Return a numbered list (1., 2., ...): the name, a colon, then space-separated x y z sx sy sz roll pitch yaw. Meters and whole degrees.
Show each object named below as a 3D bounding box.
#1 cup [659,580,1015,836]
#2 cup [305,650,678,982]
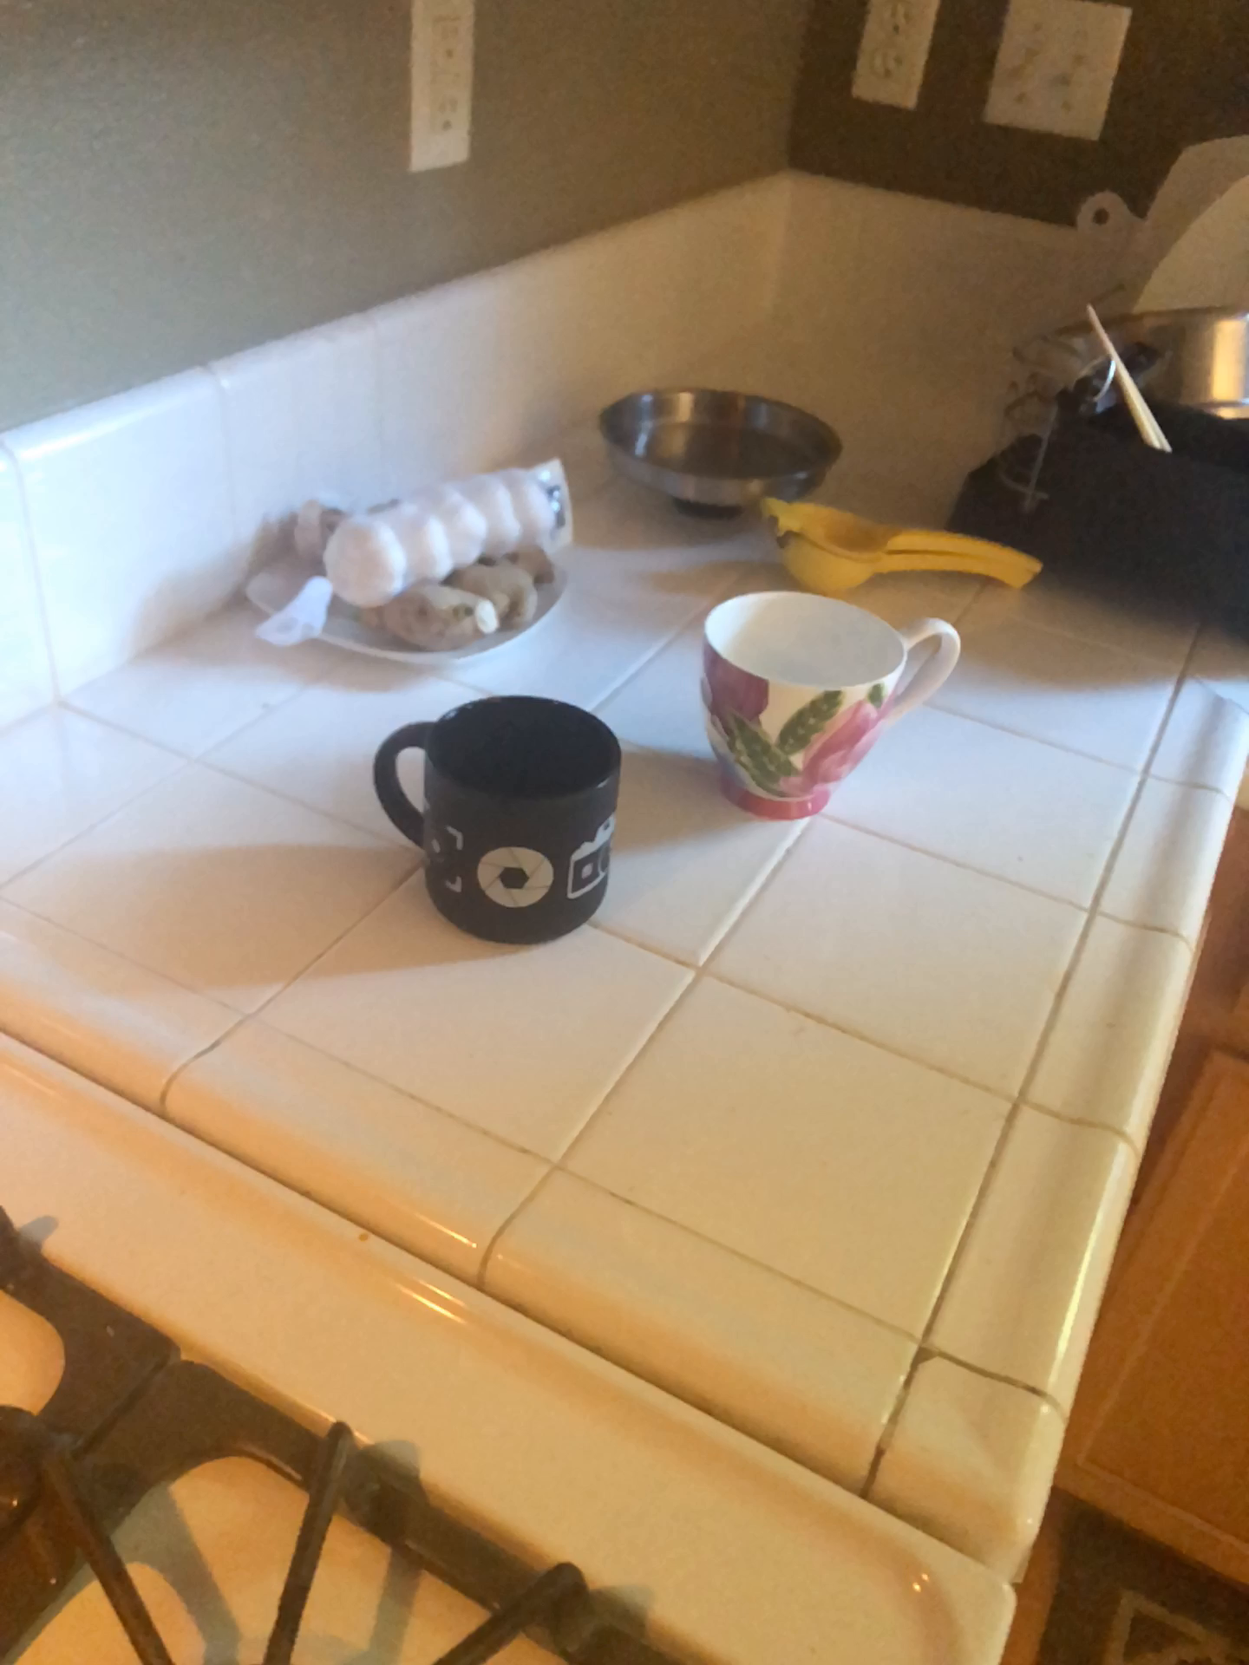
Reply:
1. cup: 0.110 -0.071 0.752 0.150 0.089 0.101 -6 38 -17
2. cup: -0.062 -0.012 0.655 0.140 0.079 0.101 18 38 15
